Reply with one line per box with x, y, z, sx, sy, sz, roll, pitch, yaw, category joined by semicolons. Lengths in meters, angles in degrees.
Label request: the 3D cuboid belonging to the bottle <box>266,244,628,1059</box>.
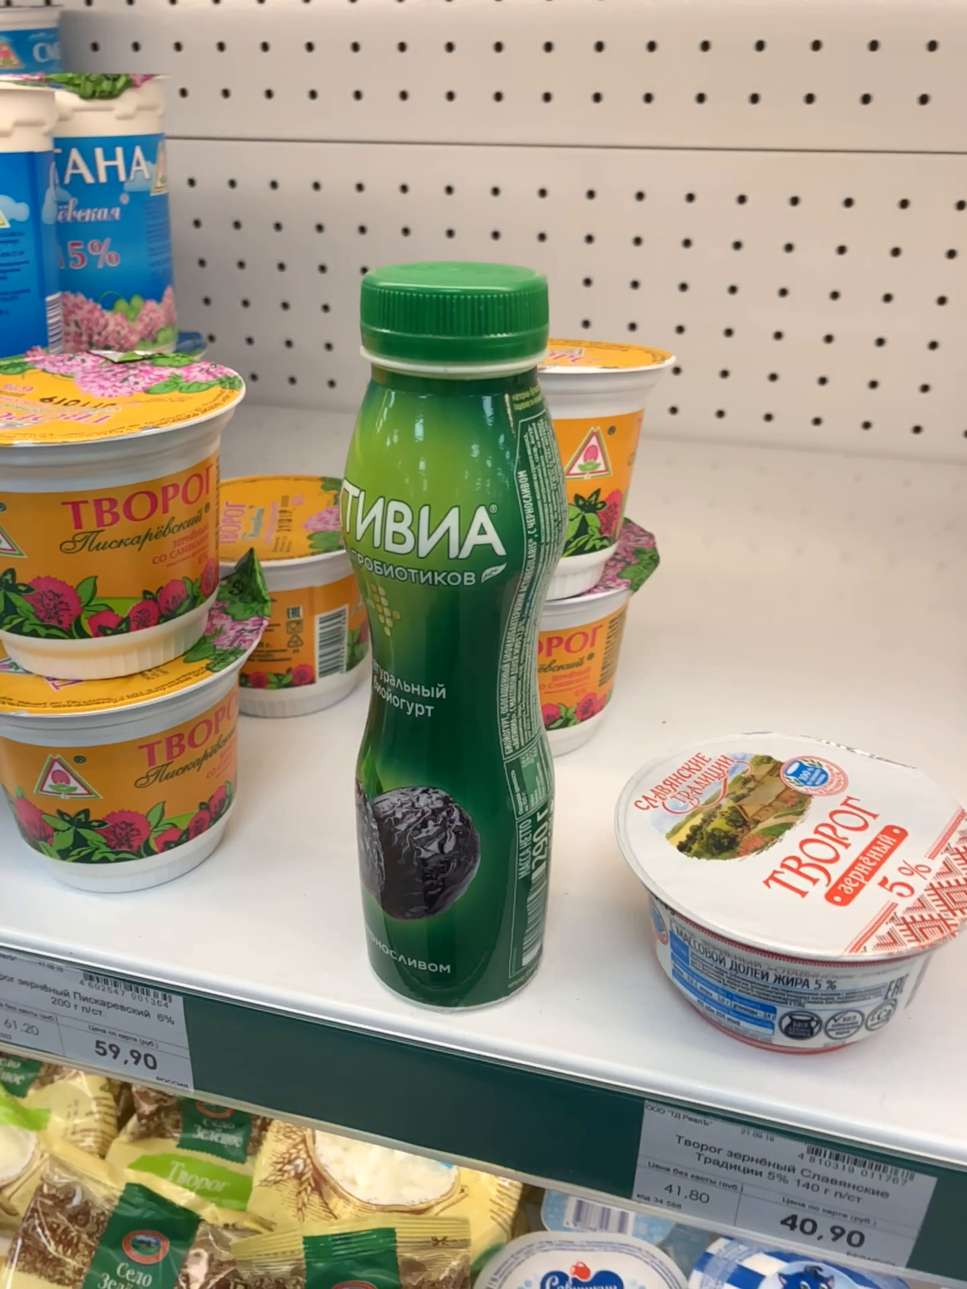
-0.007;0.006;0.261;0.054;0.185;0.050;0;28;0;bottle
